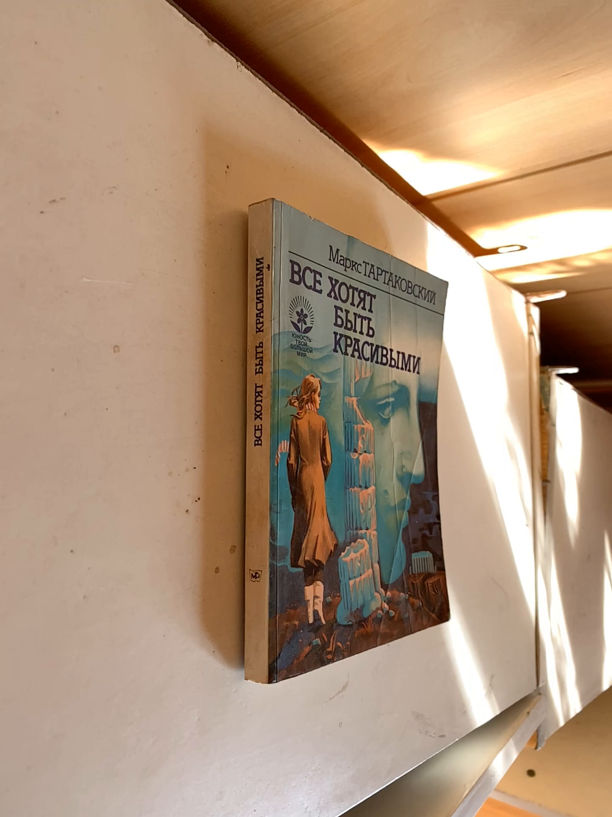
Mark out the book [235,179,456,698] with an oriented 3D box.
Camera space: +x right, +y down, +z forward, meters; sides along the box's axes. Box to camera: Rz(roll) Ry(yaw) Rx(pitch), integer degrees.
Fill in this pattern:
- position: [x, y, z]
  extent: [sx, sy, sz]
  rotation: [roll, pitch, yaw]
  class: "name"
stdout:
- position: [0.023, 0.011, 0.246]
  extent: [0.121, 0.013, 0.160]
  rotation: [6, 84, -49]
  class: "book"
